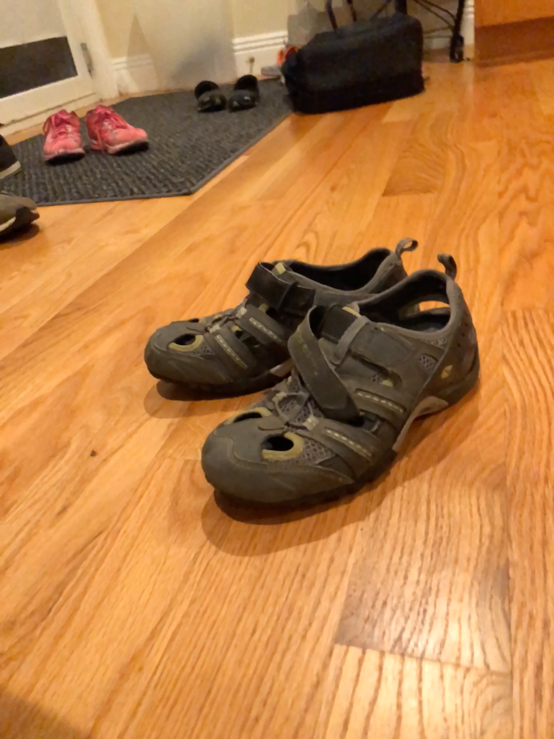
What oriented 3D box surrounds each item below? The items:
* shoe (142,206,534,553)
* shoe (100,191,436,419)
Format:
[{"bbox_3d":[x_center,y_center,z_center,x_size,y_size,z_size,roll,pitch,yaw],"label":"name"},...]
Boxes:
[{"bbox_3d":[0.054,-0.012,0.412,0.246,0.112,0.100,-29,35,-28],"label":"shoe"},{"bbox_3d":[-0.005,-0.058,0.512,0.245,0.112,0.101,-12,30,-3],"label":"shoe"}]
